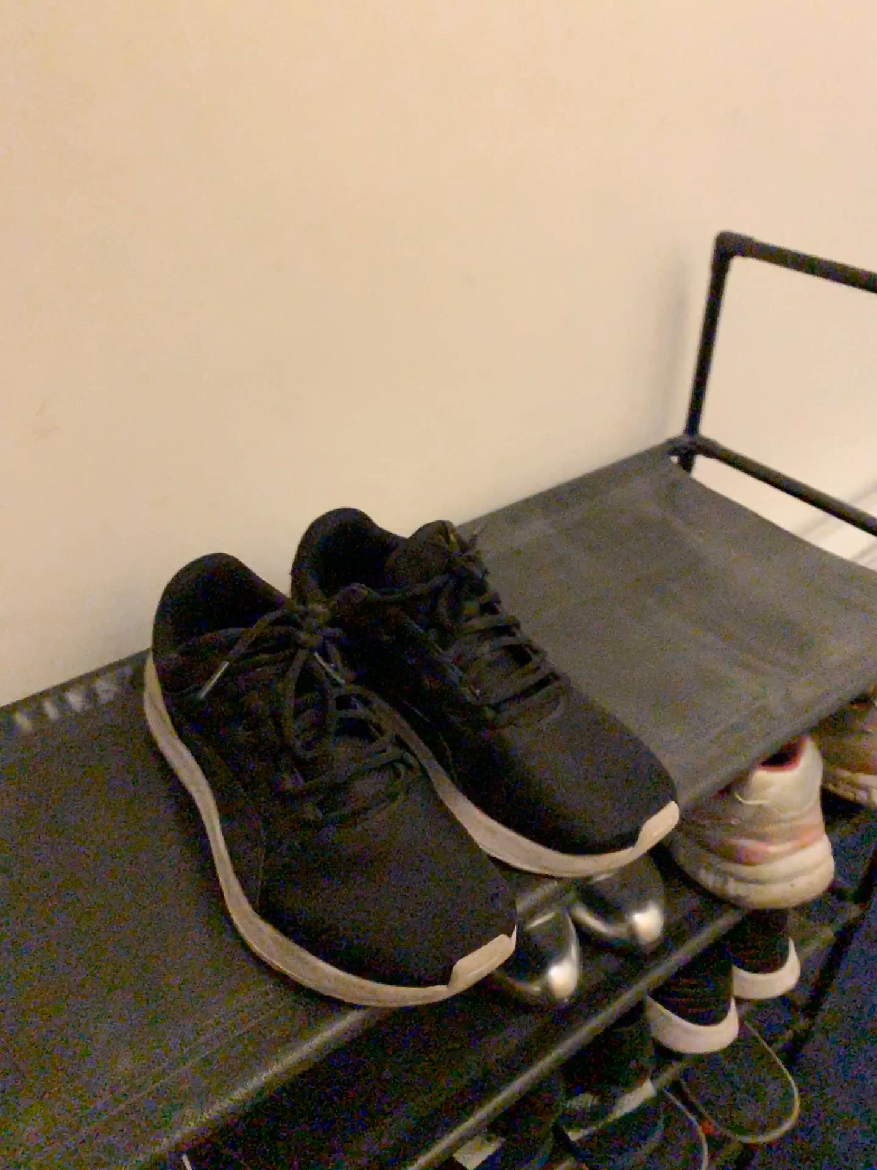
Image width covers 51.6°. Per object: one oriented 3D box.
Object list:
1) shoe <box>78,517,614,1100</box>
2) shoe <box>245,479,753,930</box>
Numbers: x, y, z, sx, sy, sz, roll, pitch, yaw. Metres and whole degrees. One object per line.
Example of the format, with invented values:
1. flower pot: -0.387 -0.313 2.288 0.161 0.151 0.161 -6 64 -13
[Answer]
1. shoe: -0.053 0.073 0.405 0.110 0.089 0.241 -24 41 -30
2. shoe: 0.015 0.039 0.476 0.110 0.069 0.261 -24 41 -30
